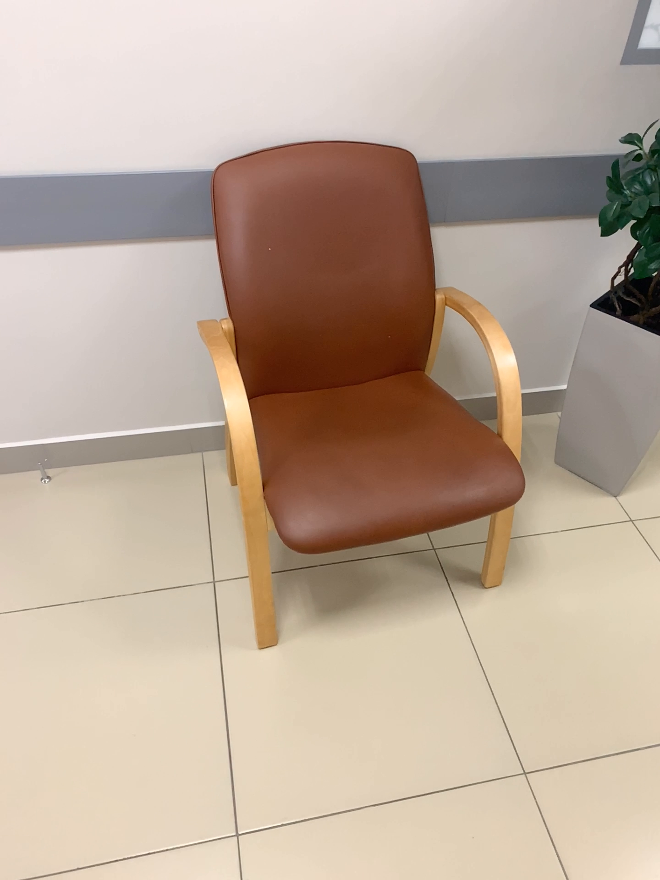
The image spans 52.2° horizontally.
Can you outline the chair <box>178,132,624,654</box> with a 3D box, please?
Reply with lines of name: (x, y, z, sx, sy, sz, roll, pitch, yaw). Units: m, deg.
chair: (0.072, -0.101, 1.605, 0.671, 0.985, 0.603, -10, 43, -14)
